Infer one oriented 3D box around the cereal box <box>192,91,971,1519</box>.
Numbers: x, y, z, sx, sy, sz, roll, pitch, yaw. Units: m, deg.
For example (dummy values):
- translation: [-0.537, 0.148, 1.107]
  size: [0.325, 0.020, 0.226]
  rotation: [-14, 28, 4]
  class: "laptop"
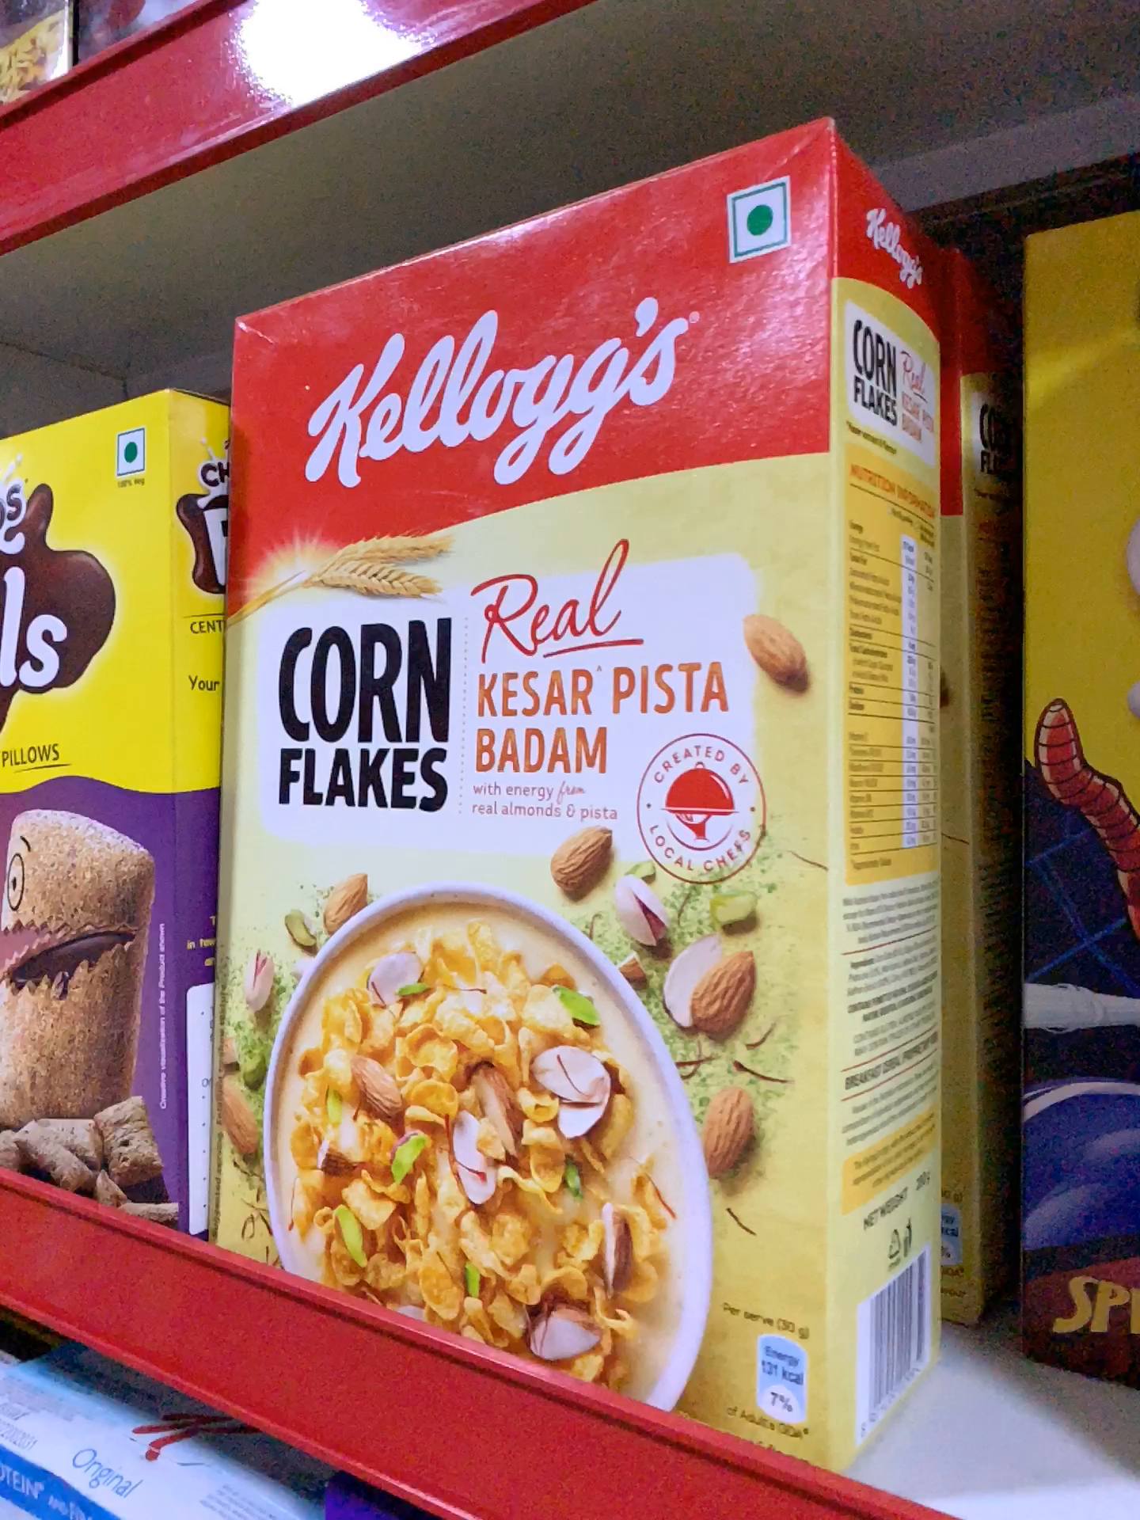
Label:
- translation: [-0.005, 0.008, 0.286]
  size: [0.180, 0.250, 0.070]
  rotation: [0, -1, 37]
  class: "cereal box"
